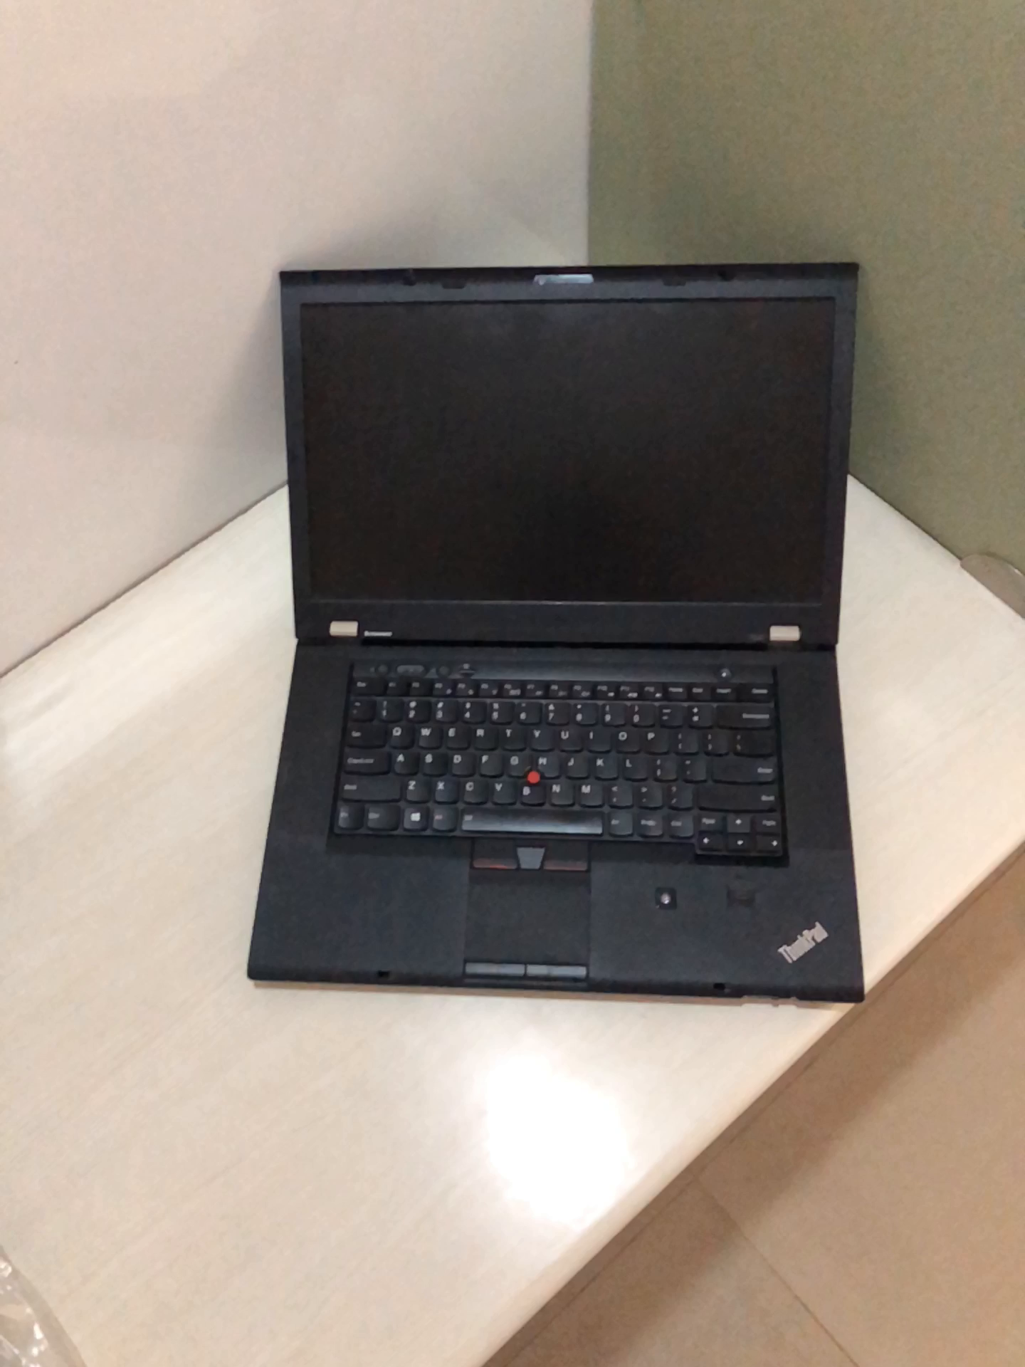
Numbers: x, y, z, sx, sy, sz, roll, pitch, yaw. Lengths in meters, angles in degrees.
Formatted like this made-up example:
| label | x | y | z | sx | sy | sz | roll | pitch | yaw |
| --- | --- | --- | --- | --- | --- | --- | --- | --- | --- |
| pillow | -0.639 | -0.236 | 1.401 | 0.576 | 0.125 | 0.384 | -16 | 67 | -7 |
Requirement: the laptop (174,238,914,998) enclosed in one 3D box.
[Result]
| label | x | y | z | sx | sy | sz | roll | pitch | yaw |
| --- | --- | --- | --- | --- | --- | --- | --- | --- | --- |
| laptop | 0.027 | -0.045 | 0.678 | 0.353 | 0.142 | 0.412 | 1 | 67 | 5 |
